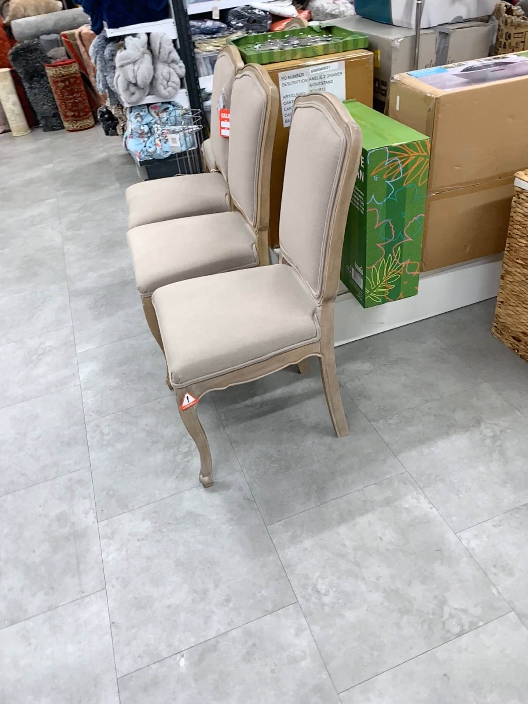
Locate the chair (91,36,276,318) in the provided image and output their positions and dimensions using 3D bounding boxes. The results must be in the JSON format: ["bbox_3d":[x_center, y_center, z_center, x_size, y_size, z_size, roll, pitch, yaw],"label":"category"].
[{"bbox_3d":[-0.321,-0.743,2.302,0.545,0.973,0.511,-13,35,-8],"label":"chair"}]

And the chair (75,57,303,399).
[{"bbox_3d":[-0.229,-0.429,1.891,0.545,0.973,0.511,-13,35,-8],"label":"chair"}]

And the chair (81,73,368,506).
[{"bbox_3d":[-0.077,-0.169,1.500,0.546,0.973,0.511,-16,35,-12],"label":"chair"}]
